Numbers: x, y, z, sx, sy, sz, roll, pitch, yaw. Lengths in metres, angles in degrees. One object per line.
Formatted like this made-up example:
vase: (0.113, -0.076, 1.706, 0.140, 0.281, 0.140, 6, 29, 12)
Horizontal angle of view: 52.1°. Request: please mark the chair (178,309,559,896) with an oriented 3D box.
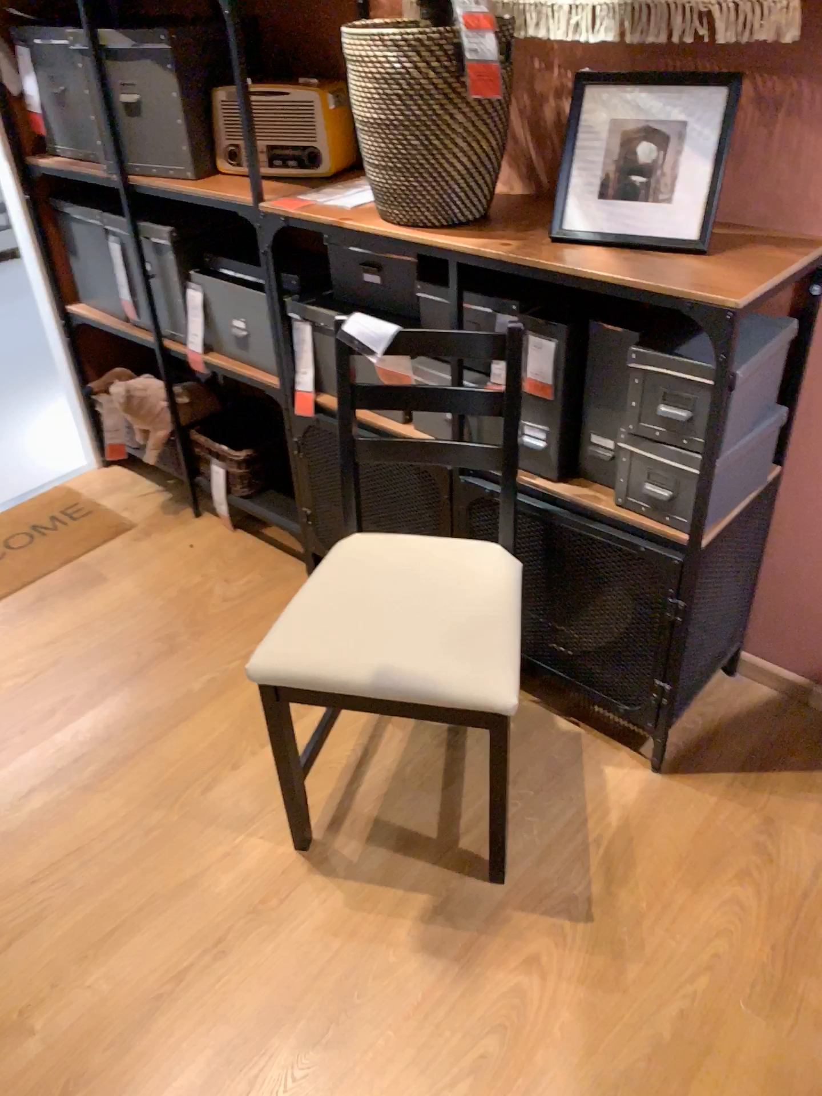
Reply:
chair: (-0.005, 0.085, 1.404, 0.410, 0.797, 0.502, 6, 36, 13)
